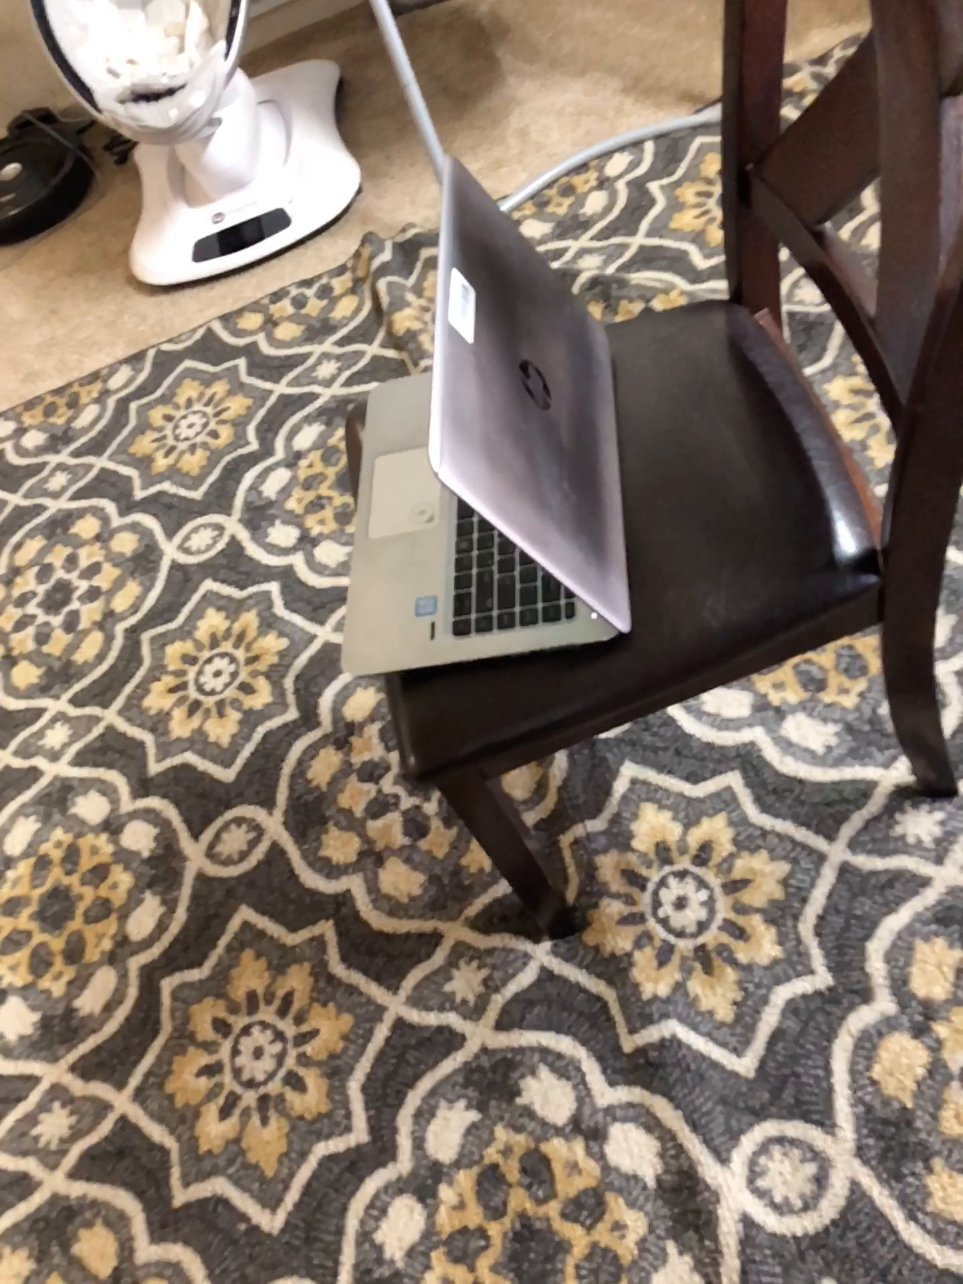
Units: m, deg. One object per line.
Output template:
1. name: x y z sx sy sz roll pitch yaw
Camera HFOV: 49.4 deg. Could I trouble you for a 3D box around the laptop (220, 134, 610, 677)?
1. laptop: -0.034 -0.173 0.792 0.212 0.193 0.323 -9 56 15
